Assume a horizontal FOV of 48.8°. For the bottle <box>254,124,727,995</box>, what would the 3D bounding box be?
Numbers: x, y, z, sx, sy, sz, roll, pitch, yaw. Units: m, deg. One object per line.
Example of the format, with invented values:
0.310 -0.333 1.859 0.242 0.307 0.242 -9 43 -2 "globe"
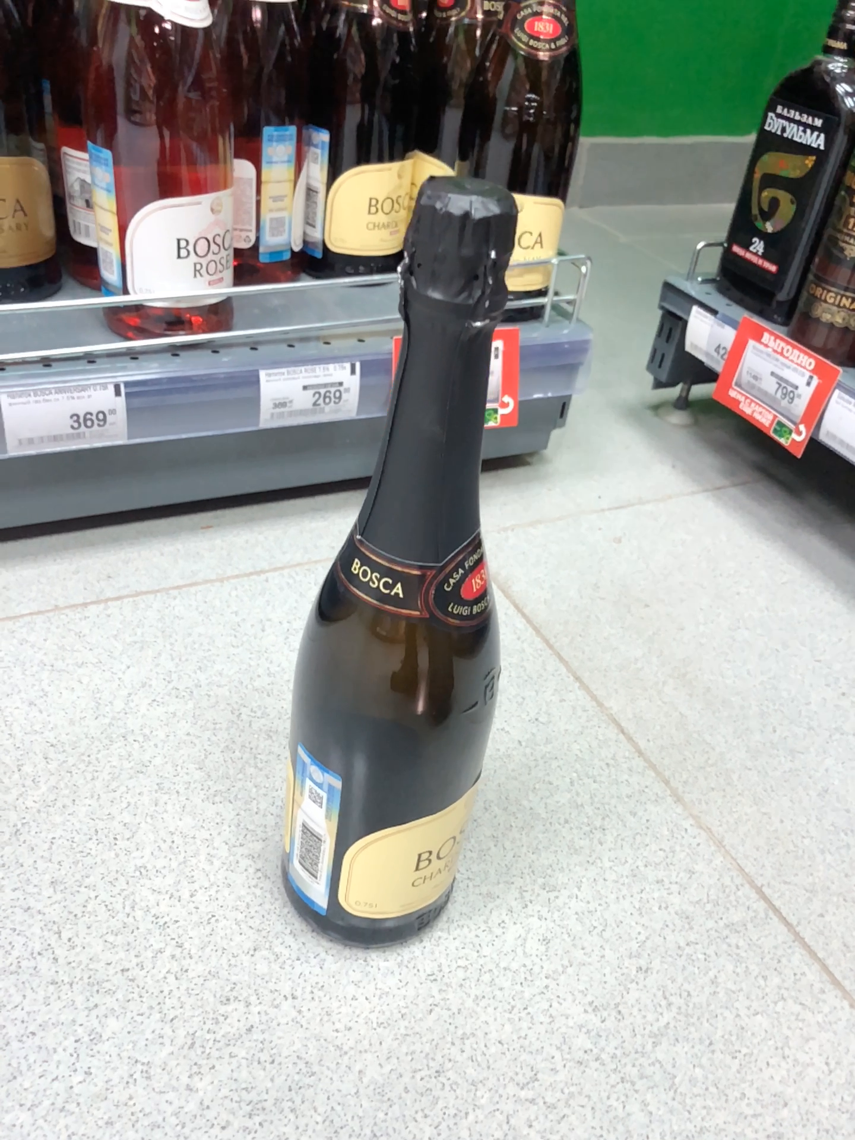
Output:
0.006 0.012 0.359 0.090 0.311 0.100 29 39 26 "bottle"
